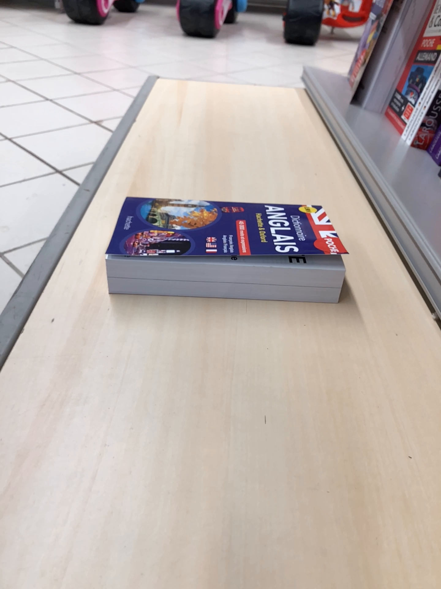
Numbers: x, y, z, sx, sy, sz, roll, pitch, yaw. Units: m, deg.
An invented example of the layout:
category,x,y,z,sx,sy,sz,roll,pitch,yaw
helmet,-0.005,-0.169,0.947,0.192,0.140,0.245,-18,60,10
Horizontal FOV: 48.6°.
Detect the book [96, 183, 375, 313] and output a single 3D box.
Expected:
category,x,y,z,sx,sy,sz,roll,pitch,yaw
book,0.010,-0.041,0.386,0.187,0.040,0.119,2,36,-2
